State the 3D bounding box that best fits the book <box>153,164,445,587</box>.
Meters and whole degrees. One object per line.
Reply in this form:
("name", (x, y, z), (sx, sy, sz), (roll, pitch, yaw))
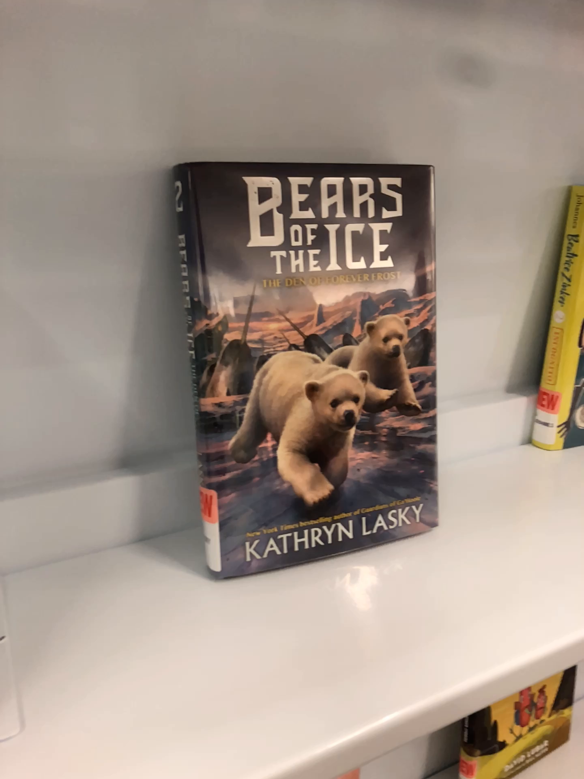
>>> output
("book", (0.010, -0.014, 0.374), (0.150, 0.216, 0.043), (-8, 10, -22))
